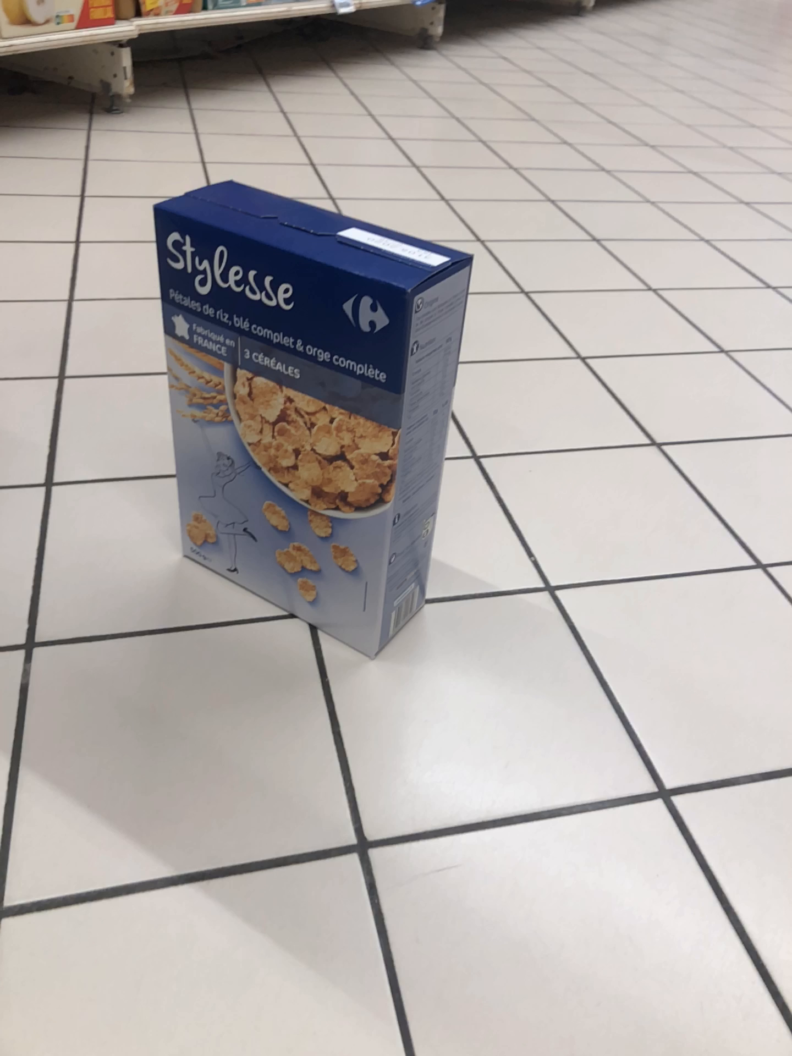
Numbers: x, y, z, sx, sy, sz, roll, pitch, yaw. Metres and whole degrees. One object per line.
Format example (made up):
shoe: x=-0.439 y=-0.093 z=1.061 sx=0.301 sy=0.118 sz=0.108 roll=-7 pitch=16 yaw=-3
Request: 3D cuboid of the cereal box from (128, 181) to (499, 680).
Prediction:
cereal box: x=-0.061 y=-0.061 z=0.594 sx=0.210 sy=0.278 sz=0.081 roll=24 pitch=41 yaw=22
